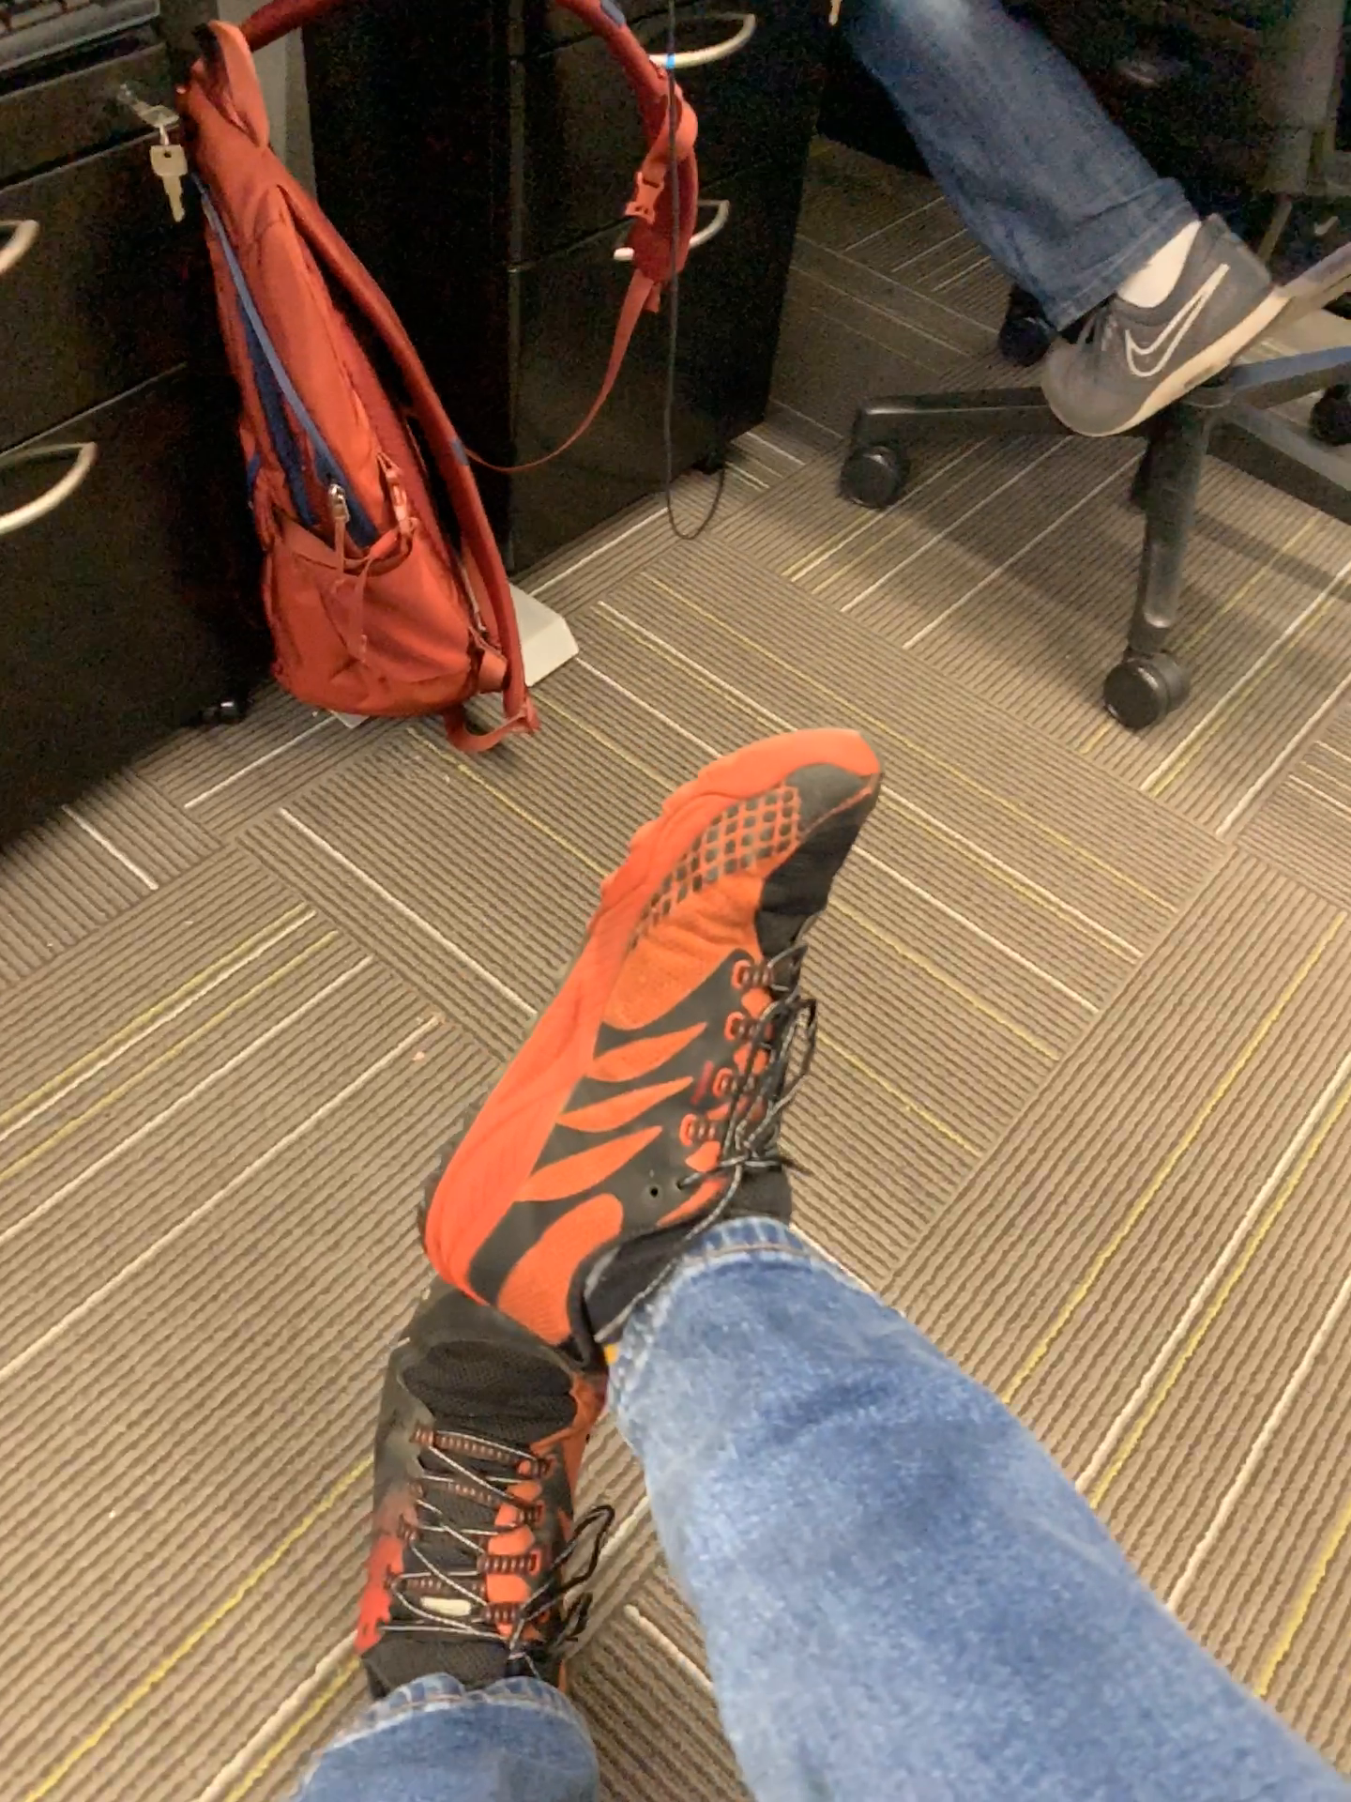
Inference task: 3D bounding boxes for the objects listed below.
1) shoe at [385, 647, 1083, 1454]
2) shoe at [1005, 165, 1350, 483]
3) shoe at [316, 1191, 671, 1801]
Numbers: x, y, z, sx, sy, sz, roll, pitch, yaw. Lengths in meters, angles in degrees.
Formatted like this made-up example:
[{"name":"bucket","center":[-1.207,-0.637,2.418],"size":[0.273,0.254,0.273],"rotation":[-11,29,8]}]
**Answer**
[{"name":"shoe","center":[0.021,0.060,0.596],"size":[0.143,0.304,0.118],"rotation":[36,22,13]},{"name":"shoe","center":[0.589,-0.674,1.649],"size":[0.155,0.356,0.164],"rotation":[-41,98,-16]},{"name":"shoe","center":[-0.087,0.315,0.701],"size":[0.129,0.135,0.289],"rotation":[7,91,-3]}]
